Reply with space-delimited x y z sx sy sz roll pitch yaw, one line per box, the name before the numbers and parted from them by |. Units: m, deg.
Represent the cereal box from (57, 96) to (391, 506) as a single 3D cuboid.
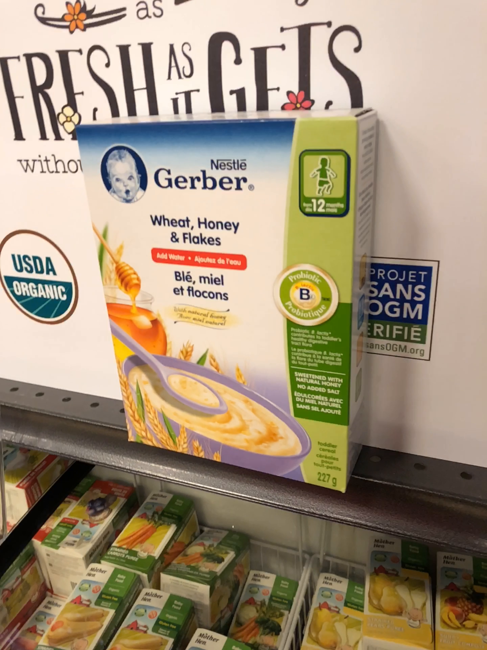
cereal box | -0.005 -0.012 0.296 0.150 0.199 0.050 7 28 23
